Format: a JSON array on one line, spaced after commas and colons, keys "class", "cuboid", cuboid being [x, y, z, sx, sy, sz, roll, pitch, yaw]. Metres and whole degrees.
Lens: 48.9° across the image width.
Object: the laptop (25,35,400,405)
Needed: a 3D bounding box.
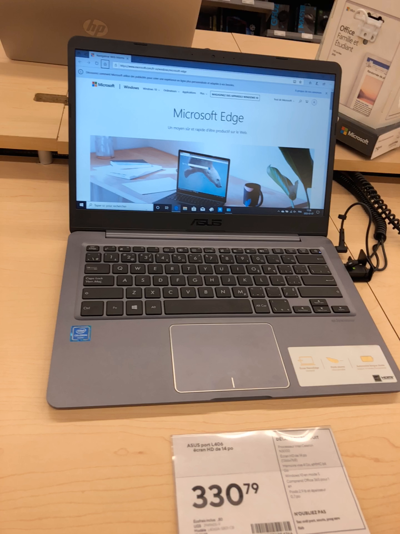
[{"class": "laptop", "cuboid": [0.024, -0.067, 0.440, 0.309, 0.172, 0.328, 1, 45, -11]}]
